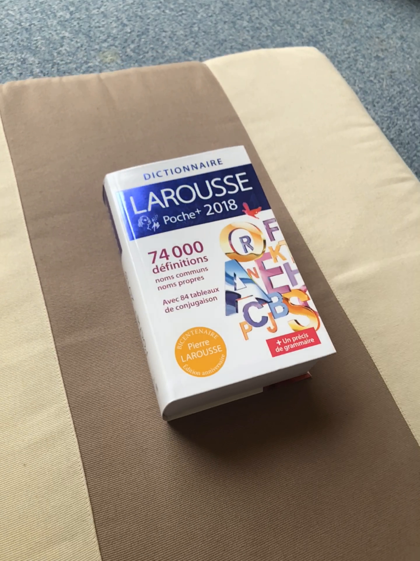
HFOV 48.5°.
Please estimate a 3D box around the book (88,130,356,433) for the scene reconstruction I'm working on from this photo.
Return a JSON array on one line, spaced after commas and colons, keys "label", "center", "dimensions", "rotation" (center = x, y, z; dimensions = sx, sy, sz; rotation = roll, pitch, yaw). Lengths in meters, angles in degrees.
[{"label": "book", "center": [-0.003, -0.011, 0.349], "dimensions": [0.130, 0.060, 0.200], "rotation": [-13, 62, -14]}]
